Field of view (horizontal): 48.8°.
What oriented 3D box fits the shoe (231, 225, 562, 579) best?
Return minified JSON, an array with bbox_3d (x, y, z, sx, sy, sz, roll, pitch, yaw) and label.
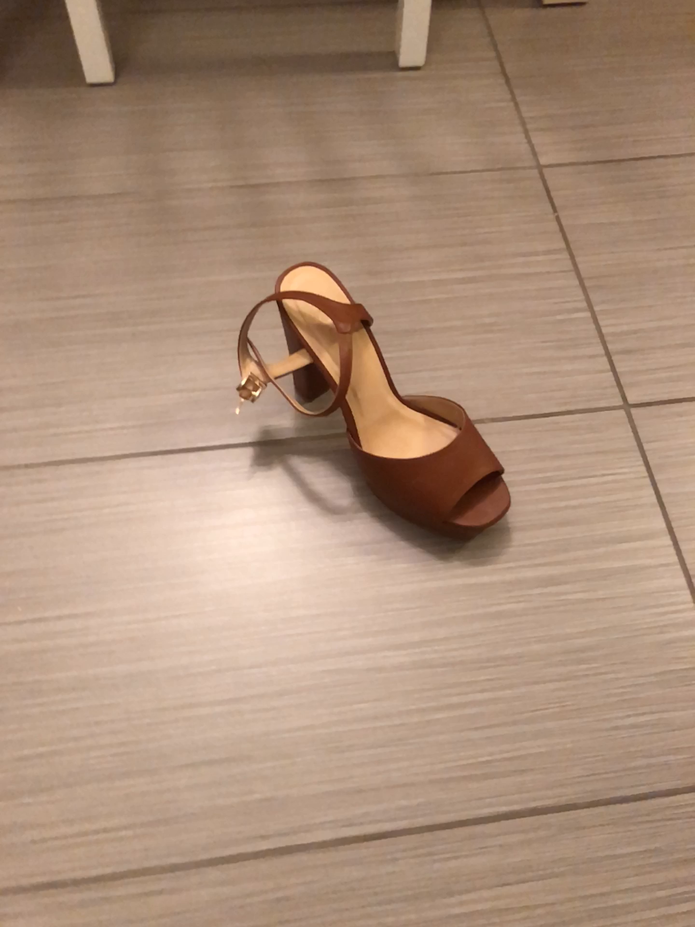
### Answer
[{"bbox_3d":[0.028,-0.049,0.586,0.110,0.090,0.240,-34,73,-18],"label":"shoe"}]
